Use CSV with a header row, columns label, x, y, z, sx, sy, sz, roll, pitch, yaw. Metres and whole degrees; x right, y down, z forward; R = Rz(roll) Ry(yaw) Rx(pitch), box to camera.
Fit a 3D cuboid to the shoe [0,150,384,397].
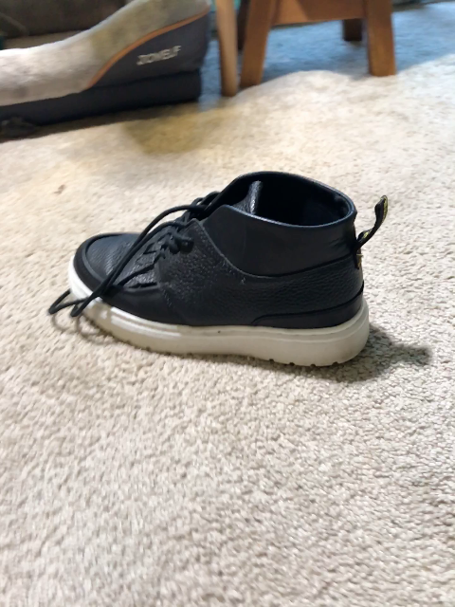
label,x,y,z,sx,sy,sz,roll,pitch,yaw
shoe,-0.027,-0.033,0.385,0.261,0.111,0.107,10,44,16
